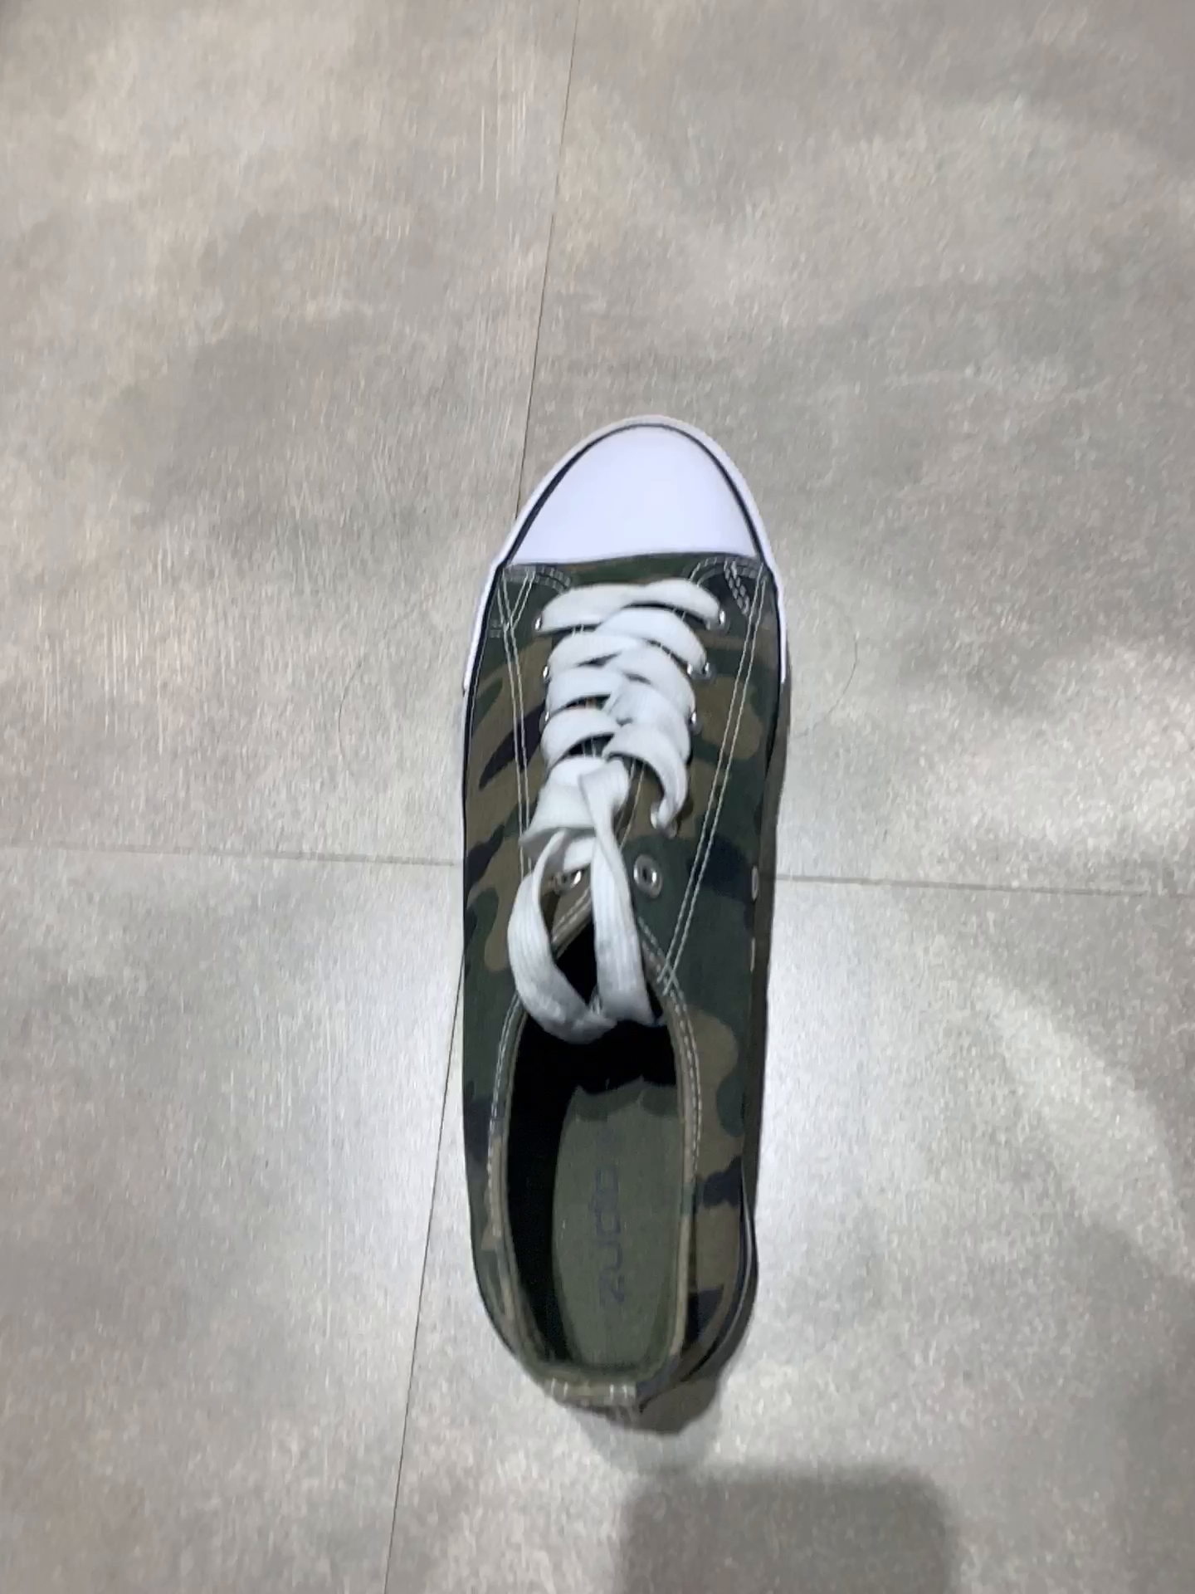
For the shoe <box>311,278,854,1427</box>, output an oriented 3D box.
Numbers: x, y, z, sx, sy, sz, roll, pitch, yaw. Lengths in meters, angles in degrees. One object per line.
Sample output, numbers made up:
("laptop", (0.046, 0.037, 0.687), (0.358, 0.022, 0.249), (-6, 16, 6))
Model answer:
("shoe", (0.004, 0.004, 0.309), (0.099, 0.079, 0.266), (-1, 68, 6))
